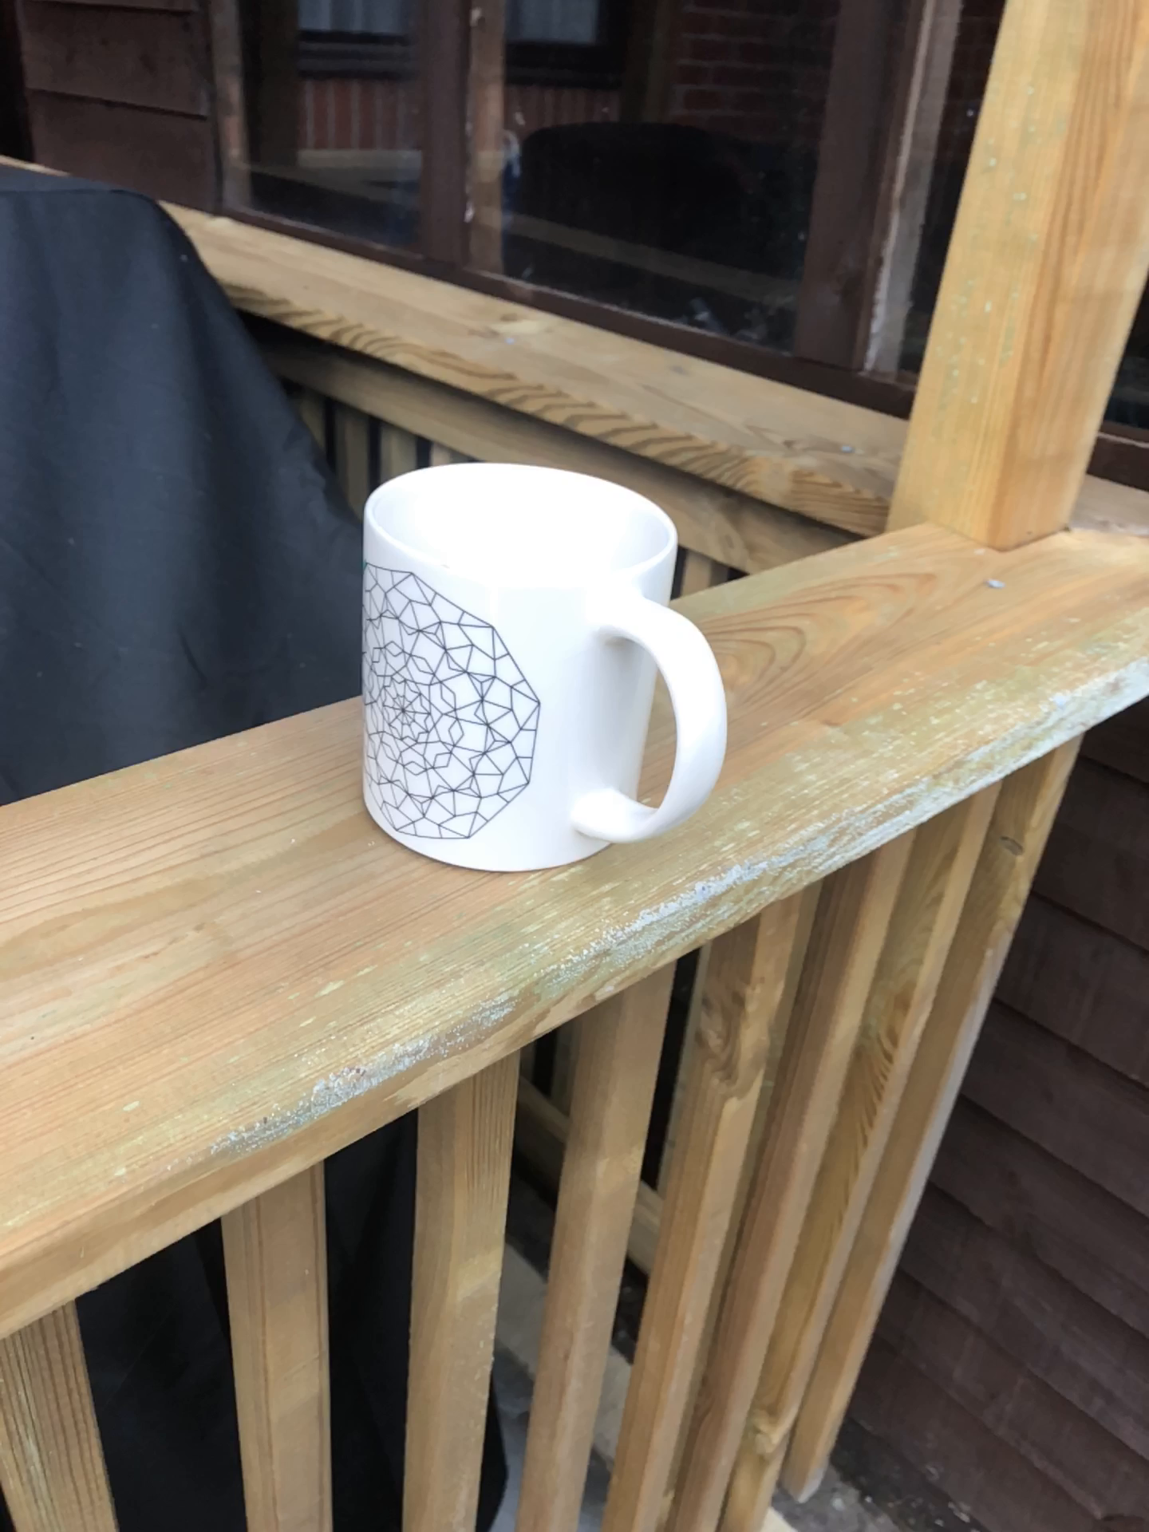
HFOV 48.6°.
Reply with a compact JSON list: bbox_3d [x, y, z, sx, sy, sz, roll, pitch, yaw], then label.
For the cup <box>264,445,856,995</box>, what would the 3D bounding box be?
[{"bbox_3d":[-0.009,-0.023,0.355,0.090,0.089,0.130,-24,39,-39],"label":"cup"}]
